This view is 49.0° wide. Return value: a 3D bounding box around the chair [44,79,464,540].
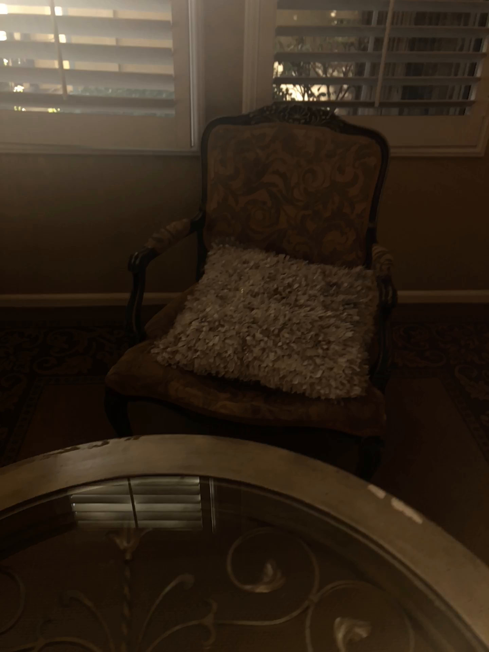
[{"bbox_3d":[0.052,-0.077,1.478,0.760,0.972,0.656,8,33,10],"label":"chair"}]
